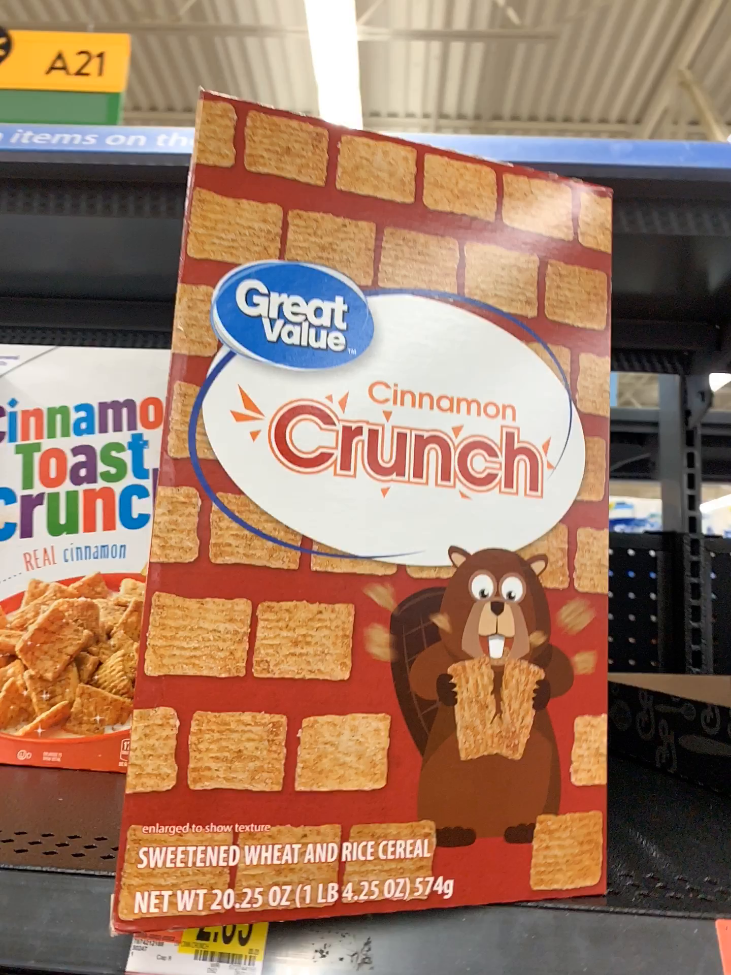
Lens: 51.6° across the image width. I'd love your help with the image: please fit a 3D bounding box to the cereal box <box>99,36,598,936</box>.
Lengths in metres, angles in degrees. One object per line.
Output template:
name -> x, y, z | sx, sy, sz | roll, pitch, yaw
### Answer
cereal box -> 0.002, -0.003, 0.337 | 0.190, 0.331, 0.070 | 7, -11, -20
